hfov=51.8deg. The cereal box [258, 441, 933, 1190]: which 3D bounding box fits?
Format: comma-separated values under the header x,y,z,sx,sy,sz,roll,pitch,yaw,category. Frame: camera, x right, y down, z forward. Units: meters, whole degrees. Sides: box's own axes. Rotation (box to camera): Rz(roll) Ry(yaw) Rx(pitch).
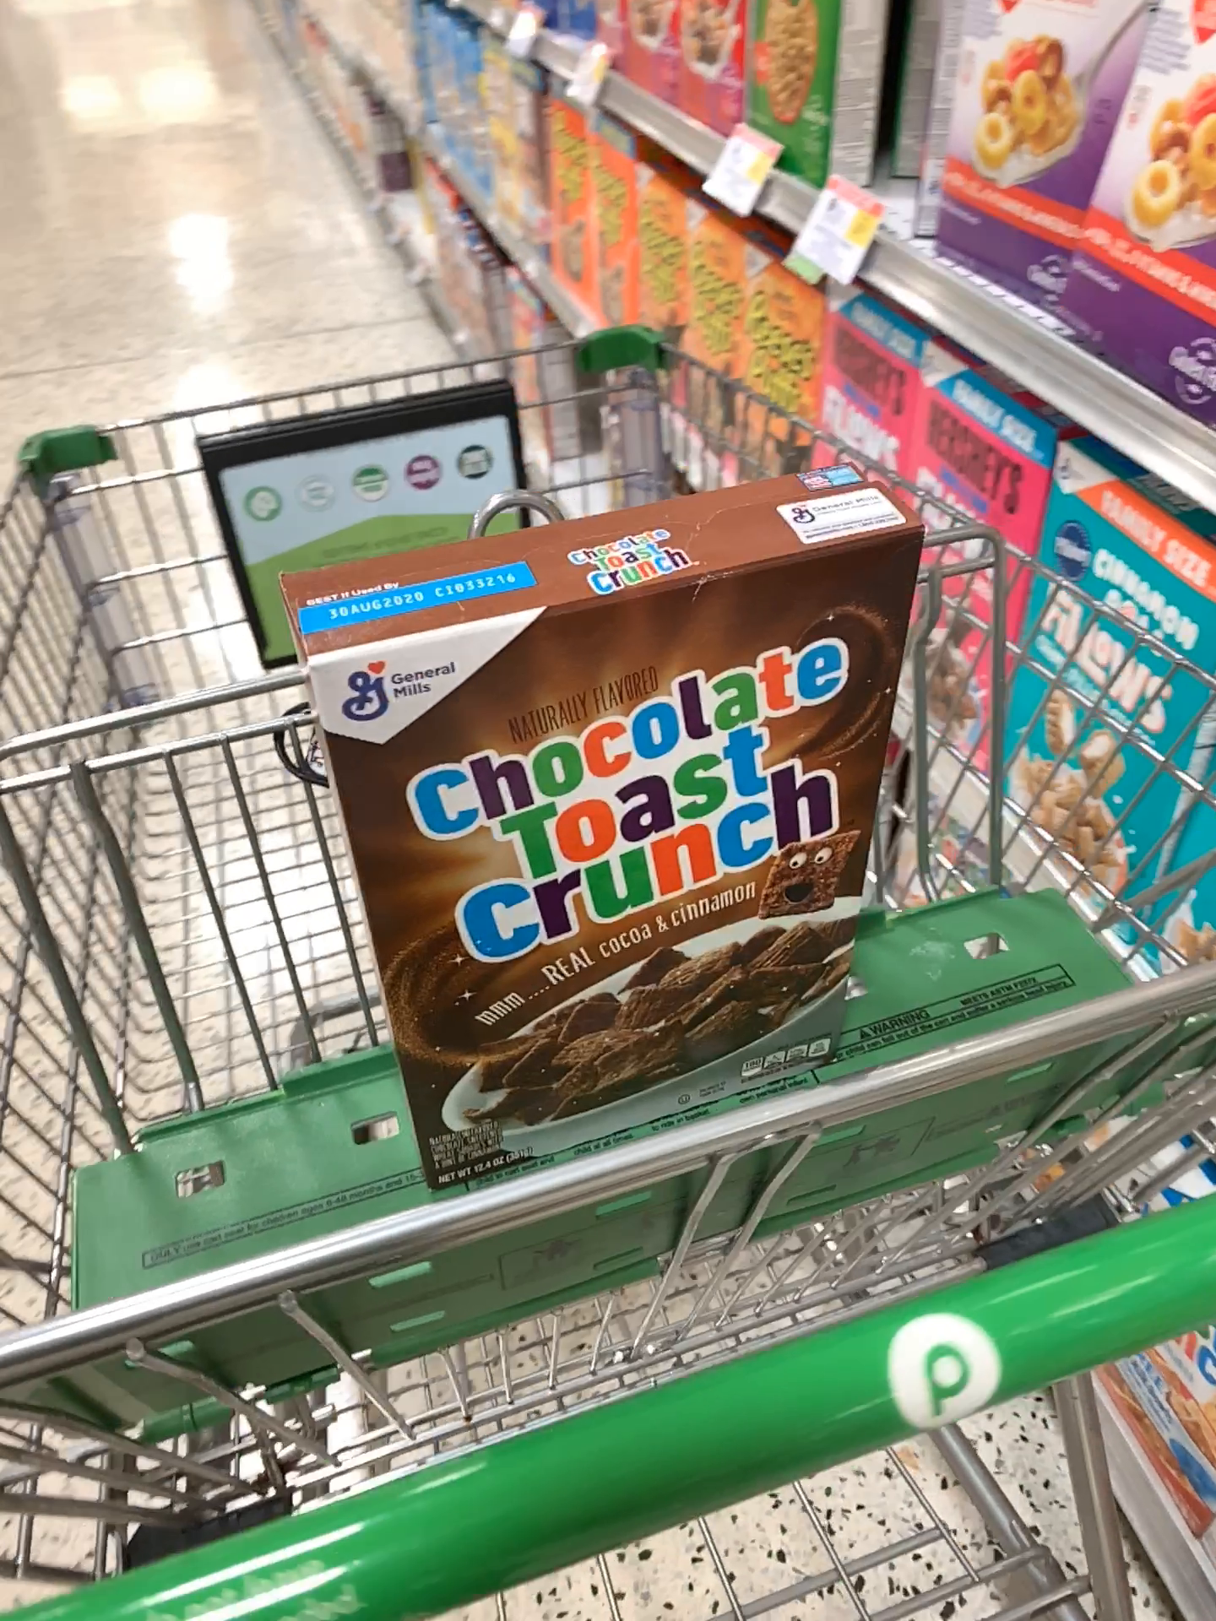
x,y,z,sx,sy,sz,roll,pitch,yaw,category
0.001,0.018,0.475,0.200,0.277,0.050,-15,44,-13,cereal box
